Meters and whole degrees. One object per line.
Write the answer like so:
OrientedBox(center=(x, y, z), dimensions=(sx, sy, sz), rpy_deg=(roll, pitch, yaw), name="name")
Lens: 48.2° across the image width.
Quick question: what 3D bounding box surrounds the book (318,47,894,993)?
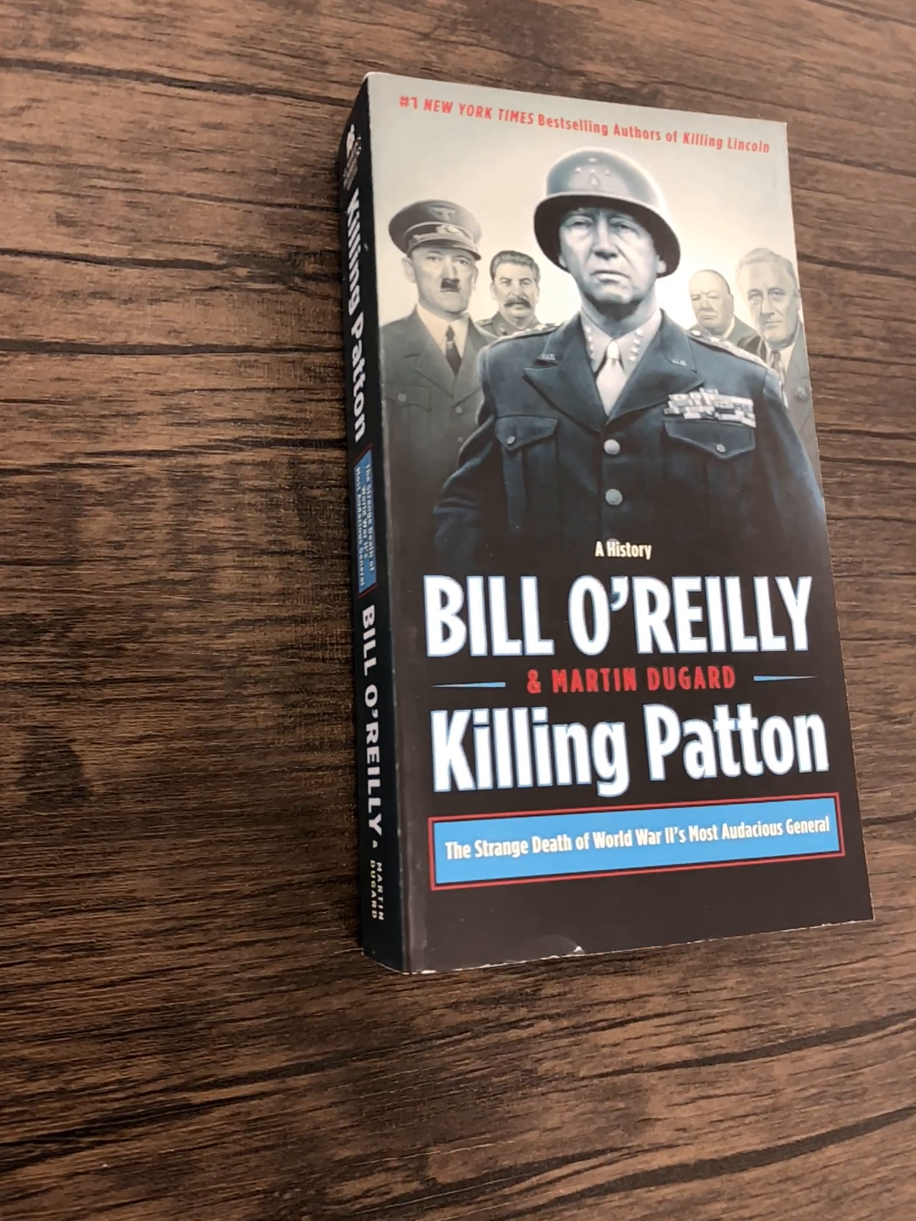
OrientedBox(center=(0.027, -0.020, 0.223), dimensions=(0.106, 0.040, 0.182), rpy_deg=(0, 81, -14), name="book")
